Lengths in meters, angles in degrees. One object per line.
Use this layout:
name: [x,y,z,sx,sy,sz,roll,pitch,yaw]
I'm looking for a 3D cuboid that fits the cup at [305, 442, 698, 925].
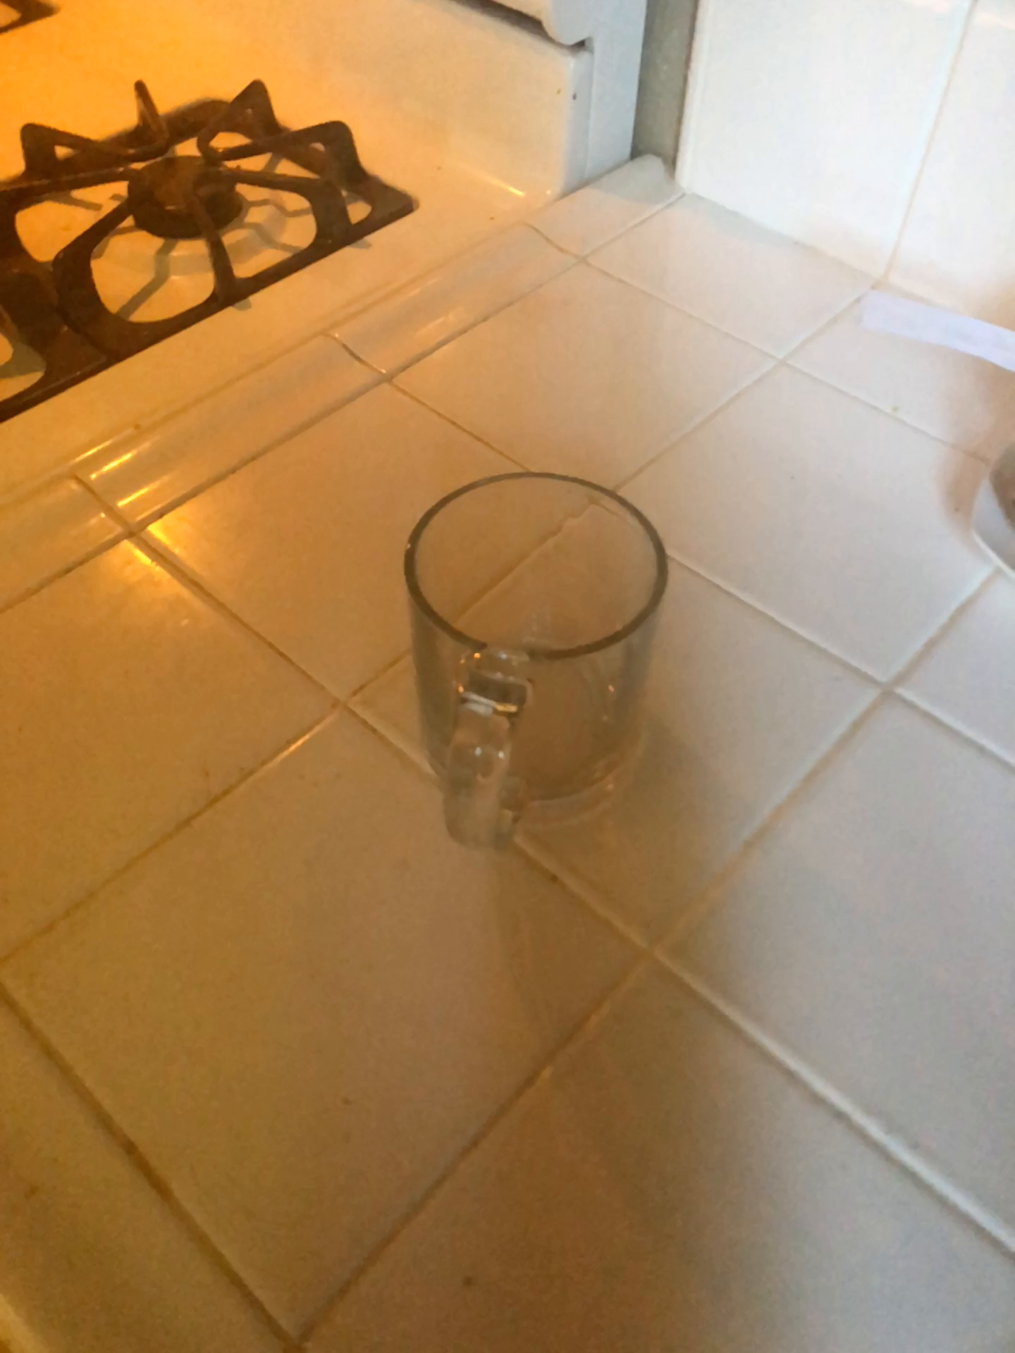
cup: [0.004,-0.001,0.381,0.100,0.079,0.131,9,52,6]
